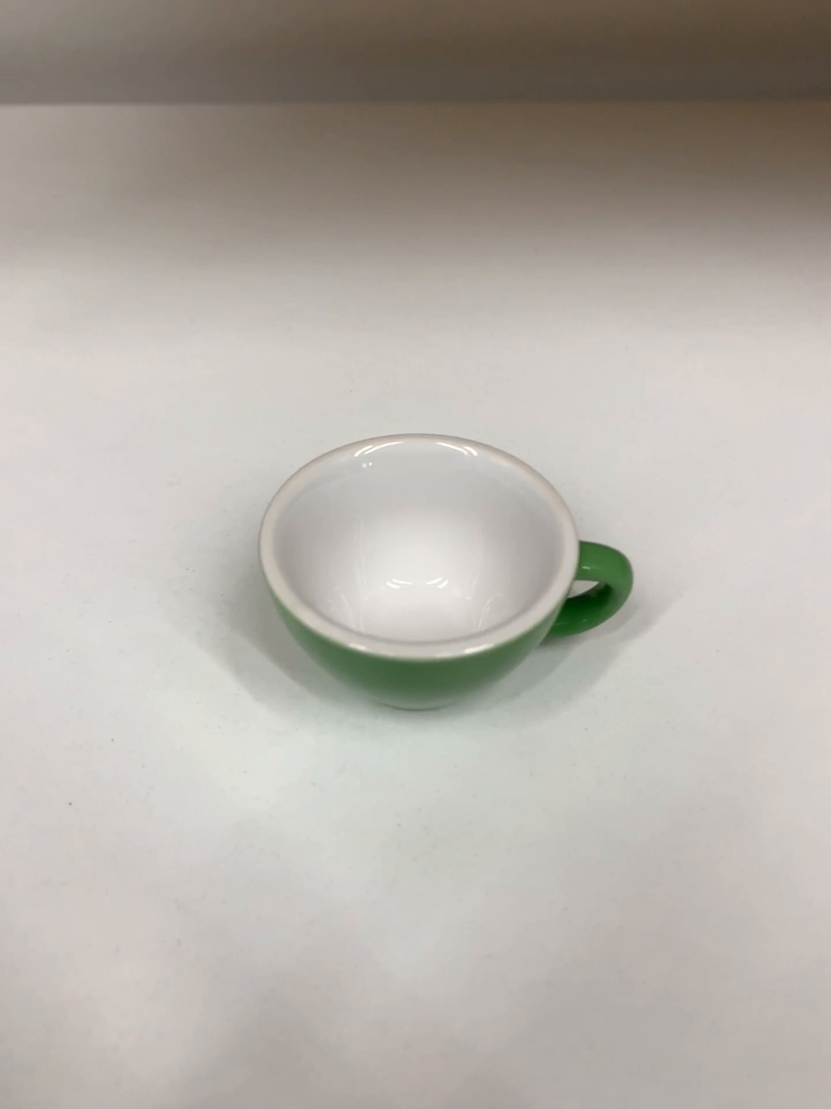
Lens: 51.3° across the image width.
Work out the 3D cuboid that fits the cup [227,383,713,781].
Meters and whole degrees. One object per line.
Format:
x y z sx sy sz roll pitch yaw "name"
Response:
0.007 0.004 0.160 0.070 0.040 0.060 -2 47 -1 "cup"
